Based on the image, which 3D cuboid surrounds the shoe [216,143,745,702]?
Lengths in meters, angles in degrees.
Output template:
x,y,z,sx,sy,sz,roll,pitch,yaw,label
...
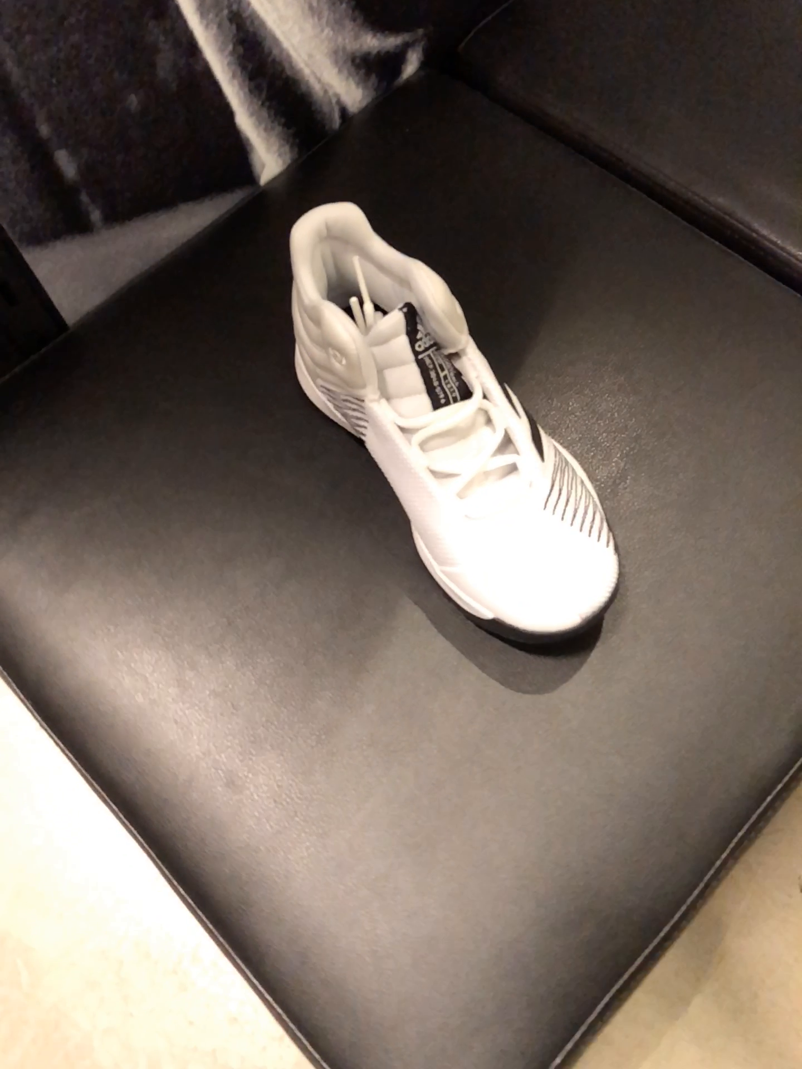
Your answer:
x,y,z,sx,sy,sz,roll,pitch,yaw,label
0.026,-0.052,0.411,0.100,0.110,0.220,-35,68,-12,shoe
